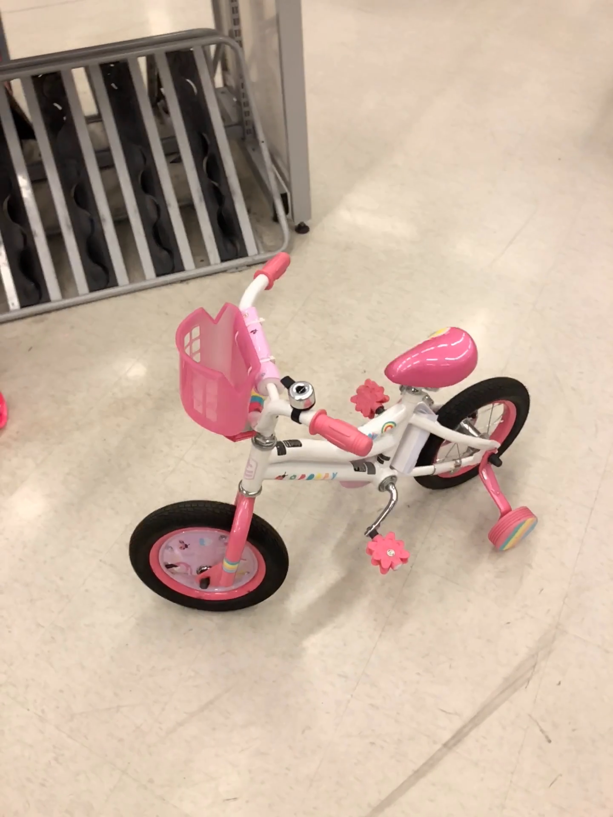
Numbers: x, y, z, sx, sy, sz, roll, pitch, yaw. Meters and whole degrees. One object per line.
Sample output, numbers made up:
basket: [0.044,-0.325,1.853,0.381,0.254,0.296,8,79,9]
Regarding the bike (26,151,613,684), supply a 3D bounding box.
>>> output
bike: [0.066,0.031,1.279,0.879,0.632,0.459,-21,52,-11]
